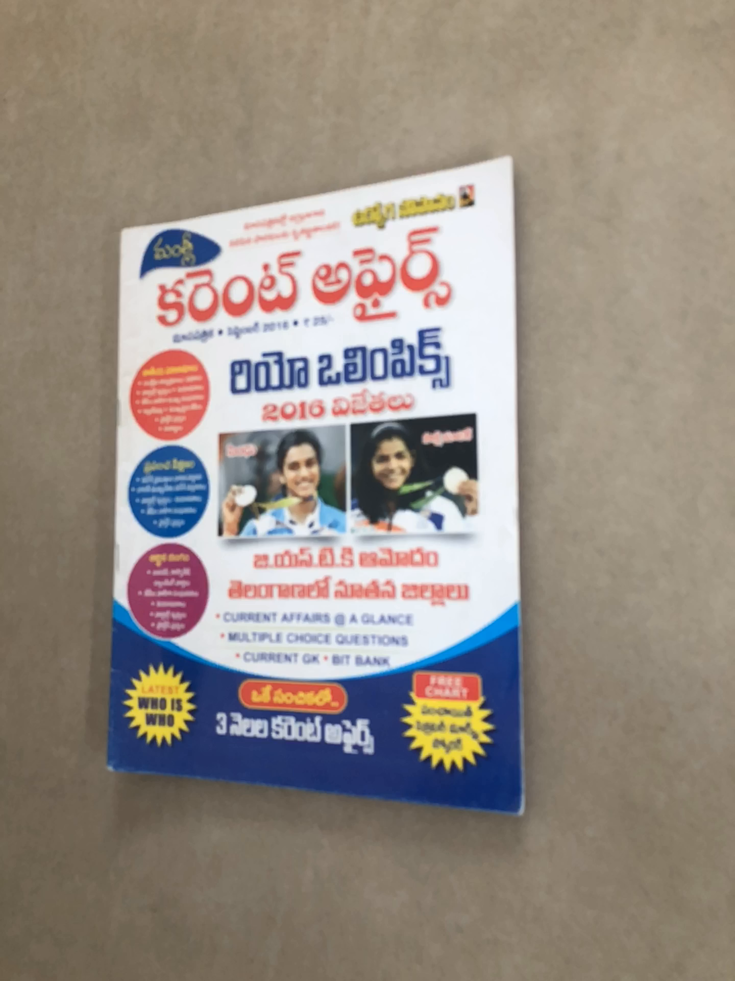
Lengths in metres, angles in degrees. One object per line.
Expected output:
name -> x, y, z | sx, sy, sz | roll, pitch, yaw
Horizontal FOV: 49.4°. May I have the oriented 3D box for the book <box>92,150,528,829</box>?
book -> -0.033, -0.002, 0.348 | 0.200, 0.010, 0.260 | -2, 85, 22
